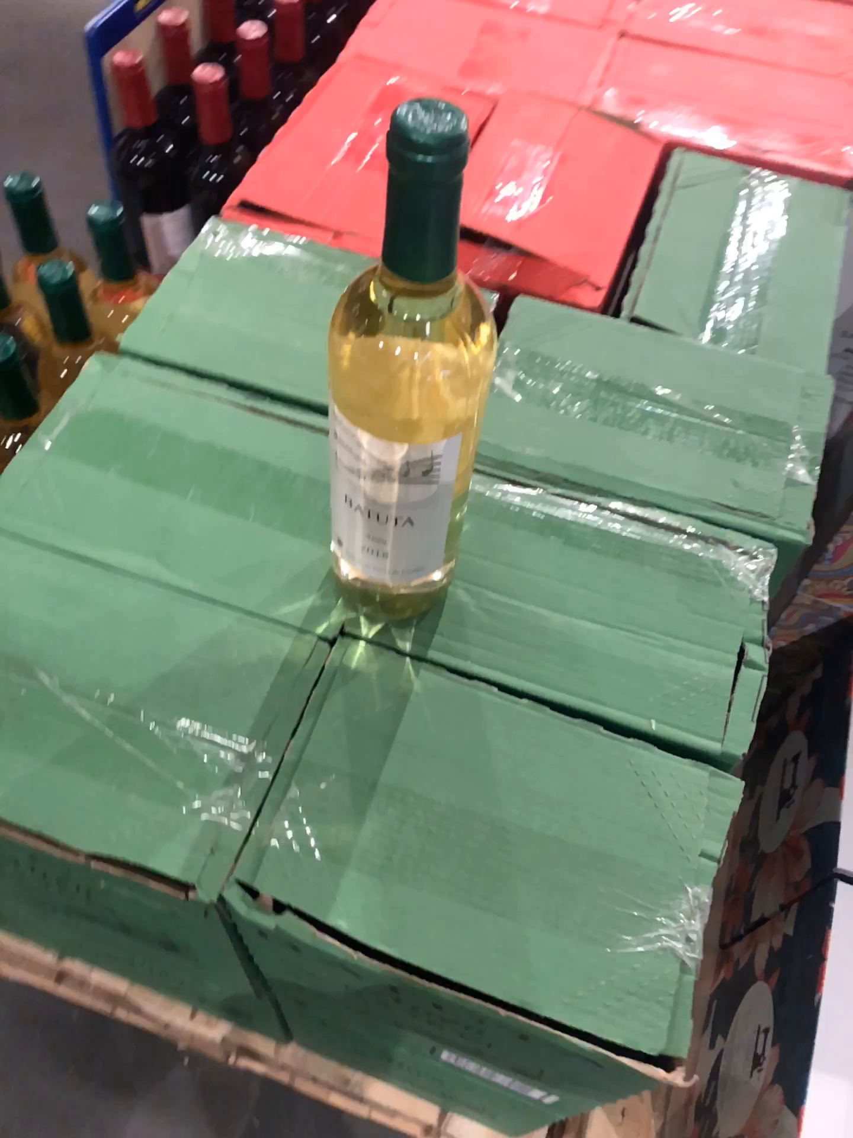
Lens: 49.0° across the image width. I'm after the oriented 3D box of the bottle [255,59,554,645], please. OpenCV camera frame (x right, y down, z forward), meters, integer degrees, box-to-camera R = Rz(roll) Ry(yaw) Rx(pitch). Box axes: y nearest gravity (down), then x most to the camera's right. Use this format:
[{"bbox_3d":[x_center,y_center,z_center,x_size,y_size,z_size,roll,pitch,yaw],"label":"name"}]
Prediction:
[{"bbox_3d":[-0.011,-0.074,0.431,0.080,0.262,0.084,2,57,-2],"label":"bottle"}]
